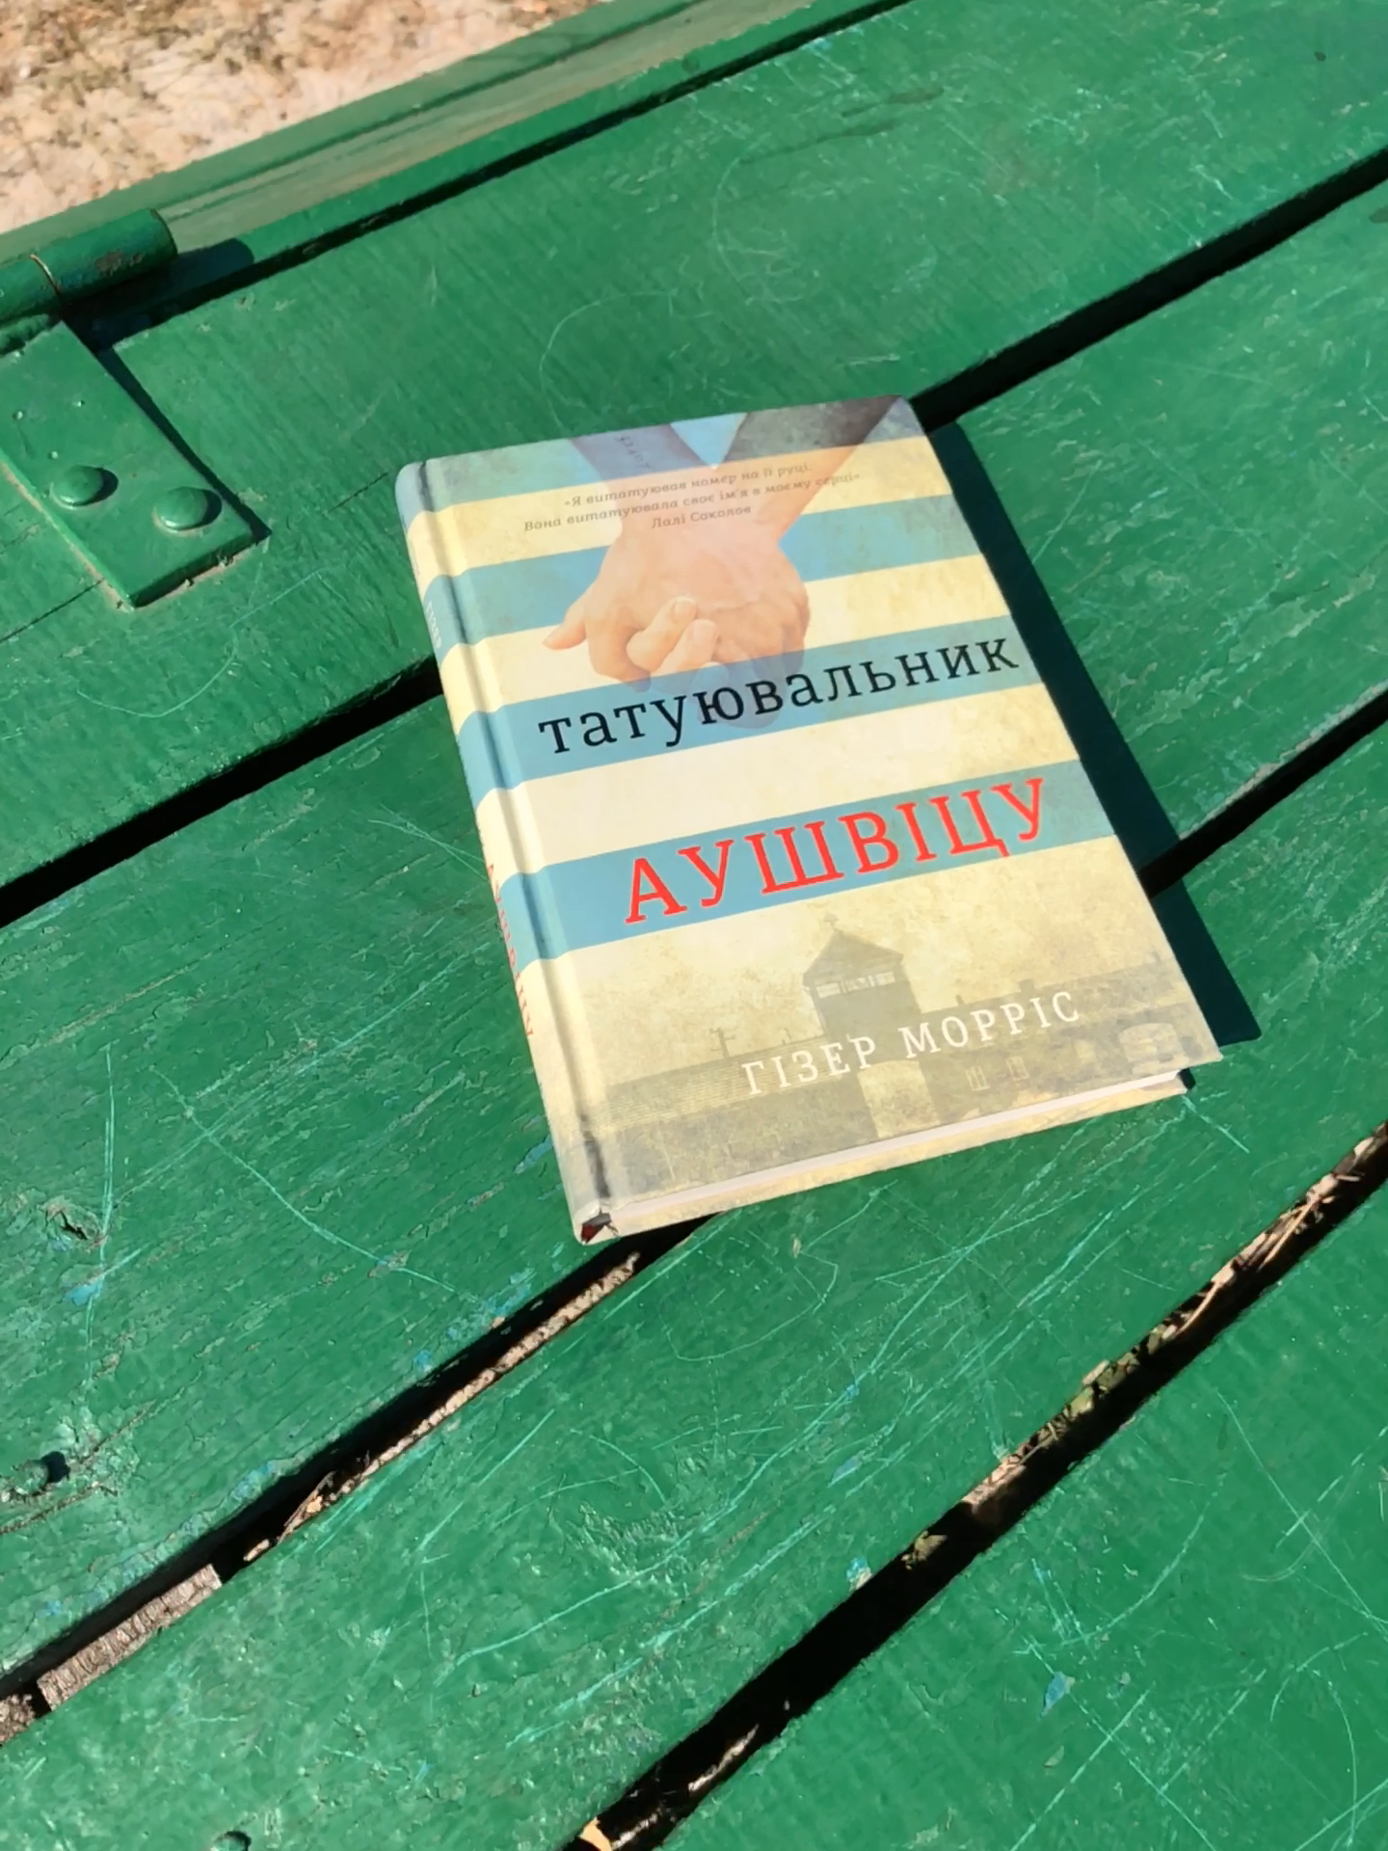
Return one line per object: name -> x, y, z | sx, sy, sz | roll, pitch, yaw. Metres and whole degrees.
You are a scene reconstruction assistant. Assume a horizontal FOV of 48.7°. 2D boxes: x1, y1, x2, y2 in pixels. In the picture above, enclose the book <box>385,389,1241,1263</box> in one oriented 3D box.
book -> 0.018, -0.040, 0.372 | 0.147, 0.020, 0.214 | -11, 62, -12
